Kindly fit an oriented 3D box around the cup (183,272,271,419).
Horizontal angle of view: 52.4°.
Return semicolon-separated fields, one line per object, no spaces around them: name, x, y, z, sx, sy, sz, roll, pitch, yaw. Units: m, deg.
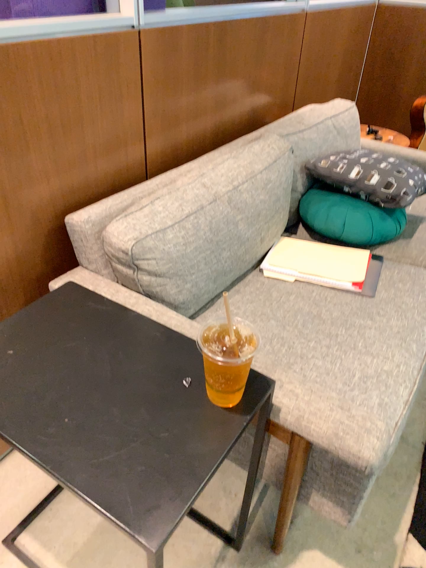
cup;0.015;0.093;0.645;0.090;0.189;0.080;-21;42;-29
